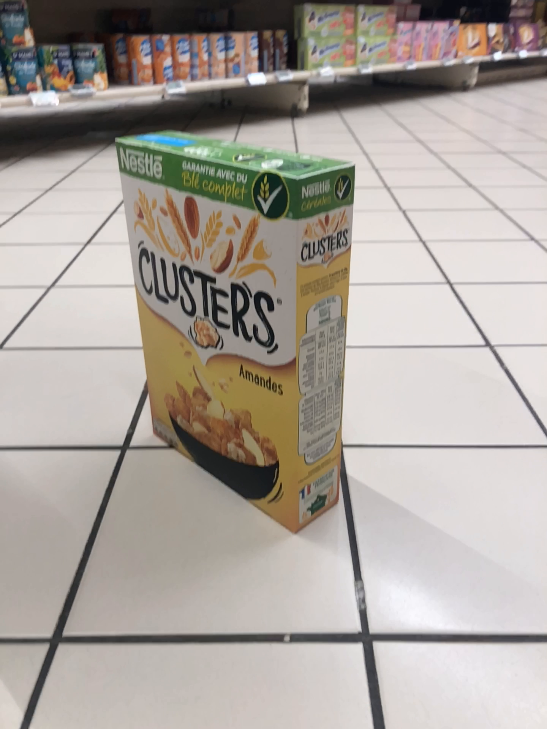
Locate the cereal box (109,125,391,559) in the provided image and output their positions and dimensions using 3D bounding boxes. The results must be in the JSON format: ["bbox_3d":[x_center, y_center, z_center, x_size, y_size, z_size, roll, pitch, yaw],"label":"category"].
[{"bbox_3d":[-0.026,-0.024,0.457,0.060,0.268,0.210,-24,37,-37],"label":"cereal box"}]
